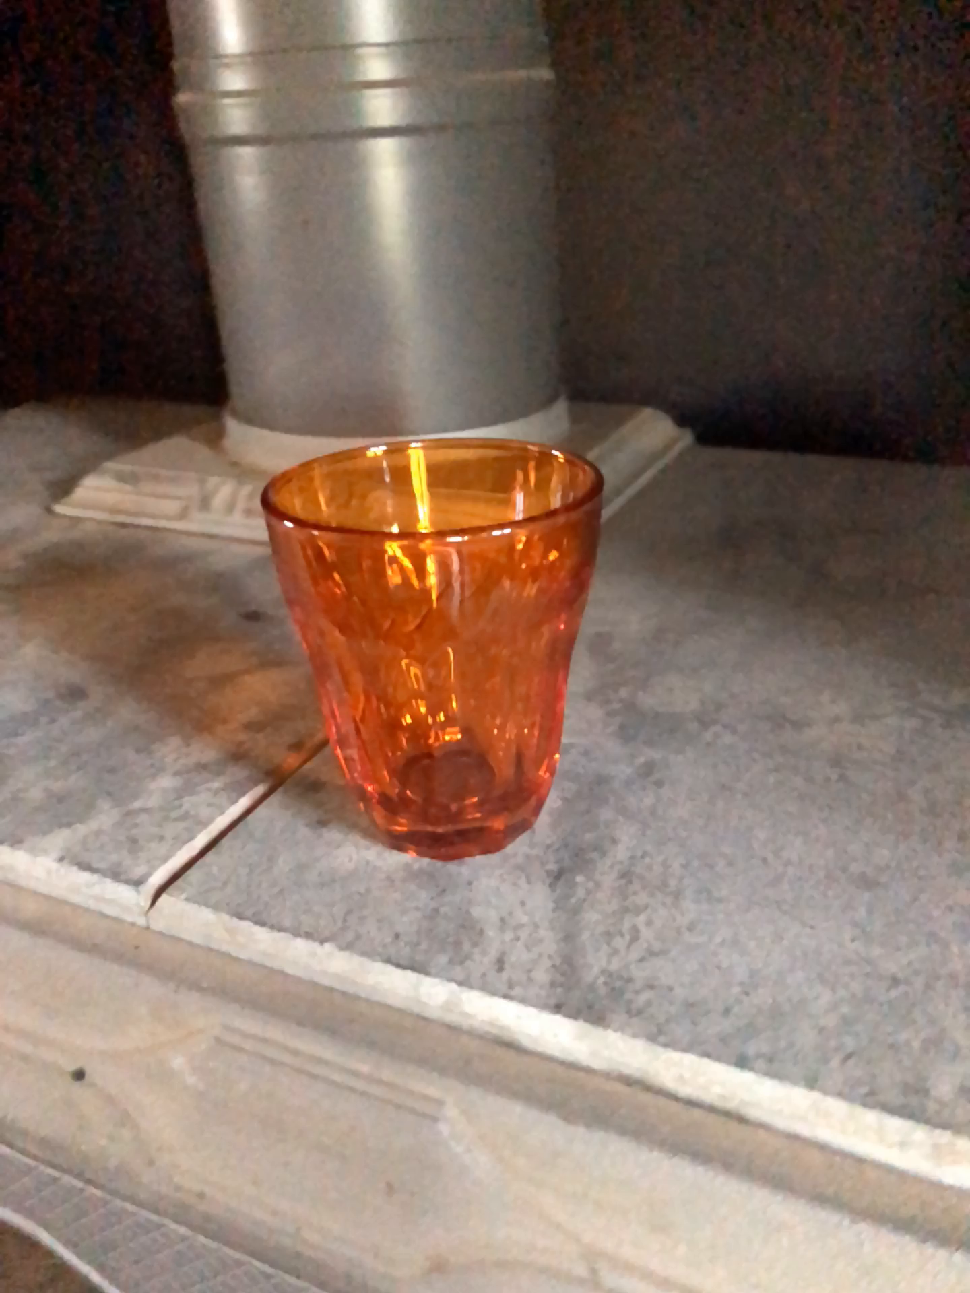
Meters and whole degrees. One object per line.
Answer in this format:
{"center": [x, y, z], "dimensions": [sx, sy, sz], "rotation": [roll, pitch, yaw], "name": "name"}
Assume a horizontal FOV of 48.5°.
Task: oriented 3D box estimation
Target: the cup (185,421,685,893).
{"center": [-0.005, -0.005, 0.244], "dimensions": [0.080, 0.070, 0.081], "rotation": [-2, 25, 1], "name": "cup"}
